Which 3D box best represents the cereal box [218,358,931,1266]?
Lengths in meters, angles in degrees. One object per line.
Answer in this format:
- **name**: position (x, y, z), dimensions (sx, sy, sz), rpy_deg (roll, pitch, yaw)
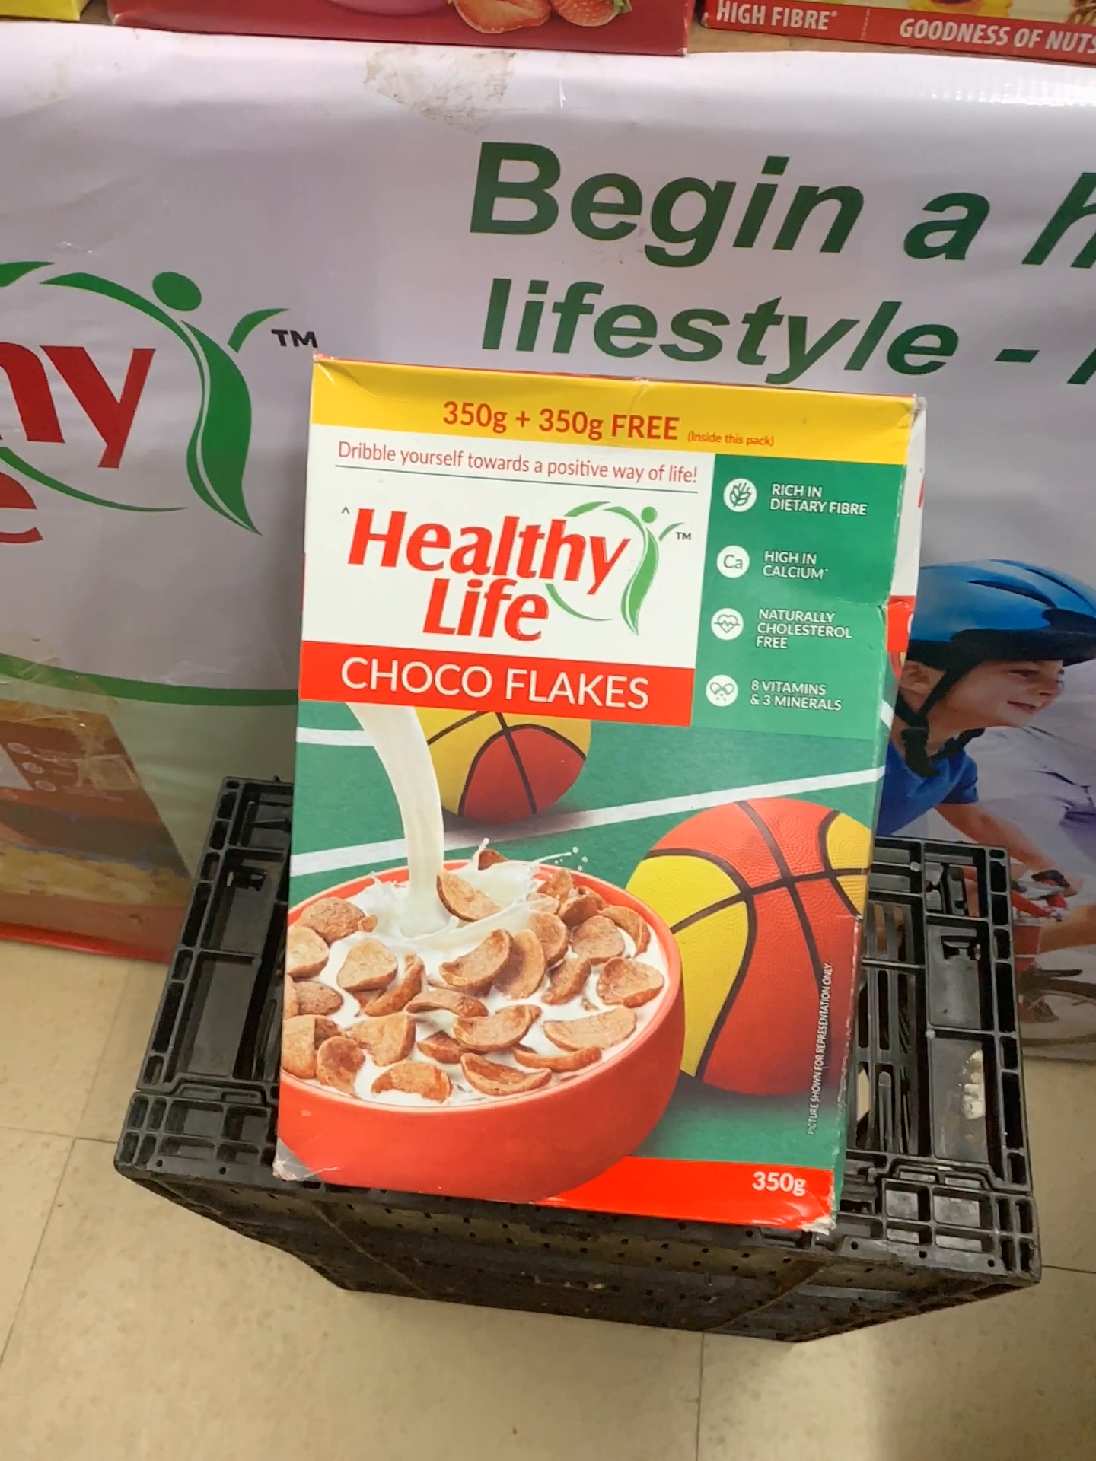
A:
- **cereal box**: position (0.003, 0.025, 0.404), dimensions (0.210, 0.090, 0.280), rpy_deg (4, 98, 4)
